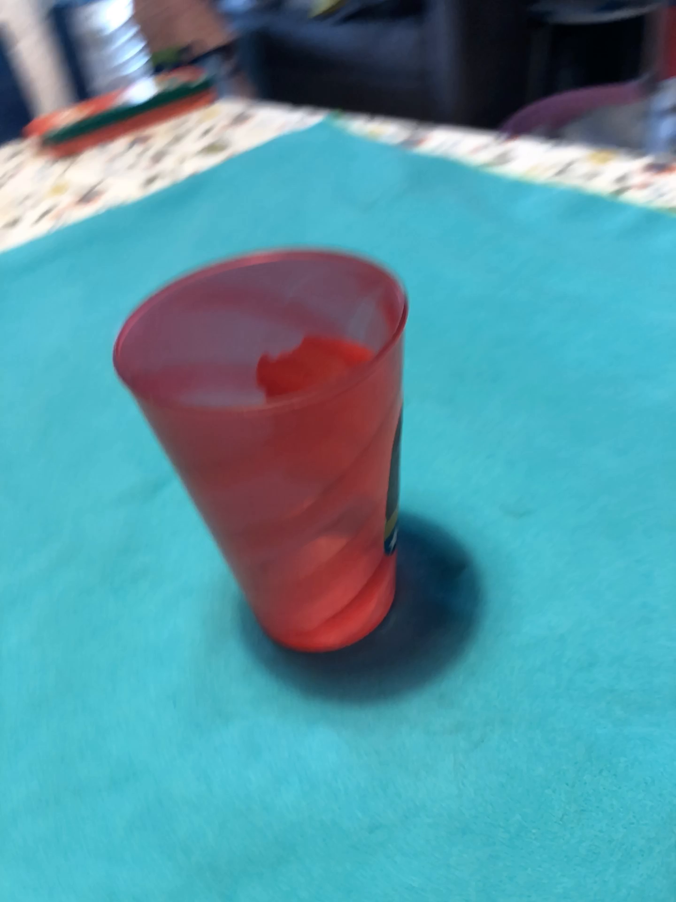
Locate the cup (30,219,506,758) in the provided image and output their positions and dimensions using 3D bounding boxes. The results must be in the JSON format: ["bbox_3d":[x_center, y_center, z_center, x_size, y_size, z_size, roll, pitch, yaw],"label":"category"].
[{"bbox_3d":[-0.013,0.007,0.235,0.090,0.109,0.090,-5,41,5],"label":"cup"}]
